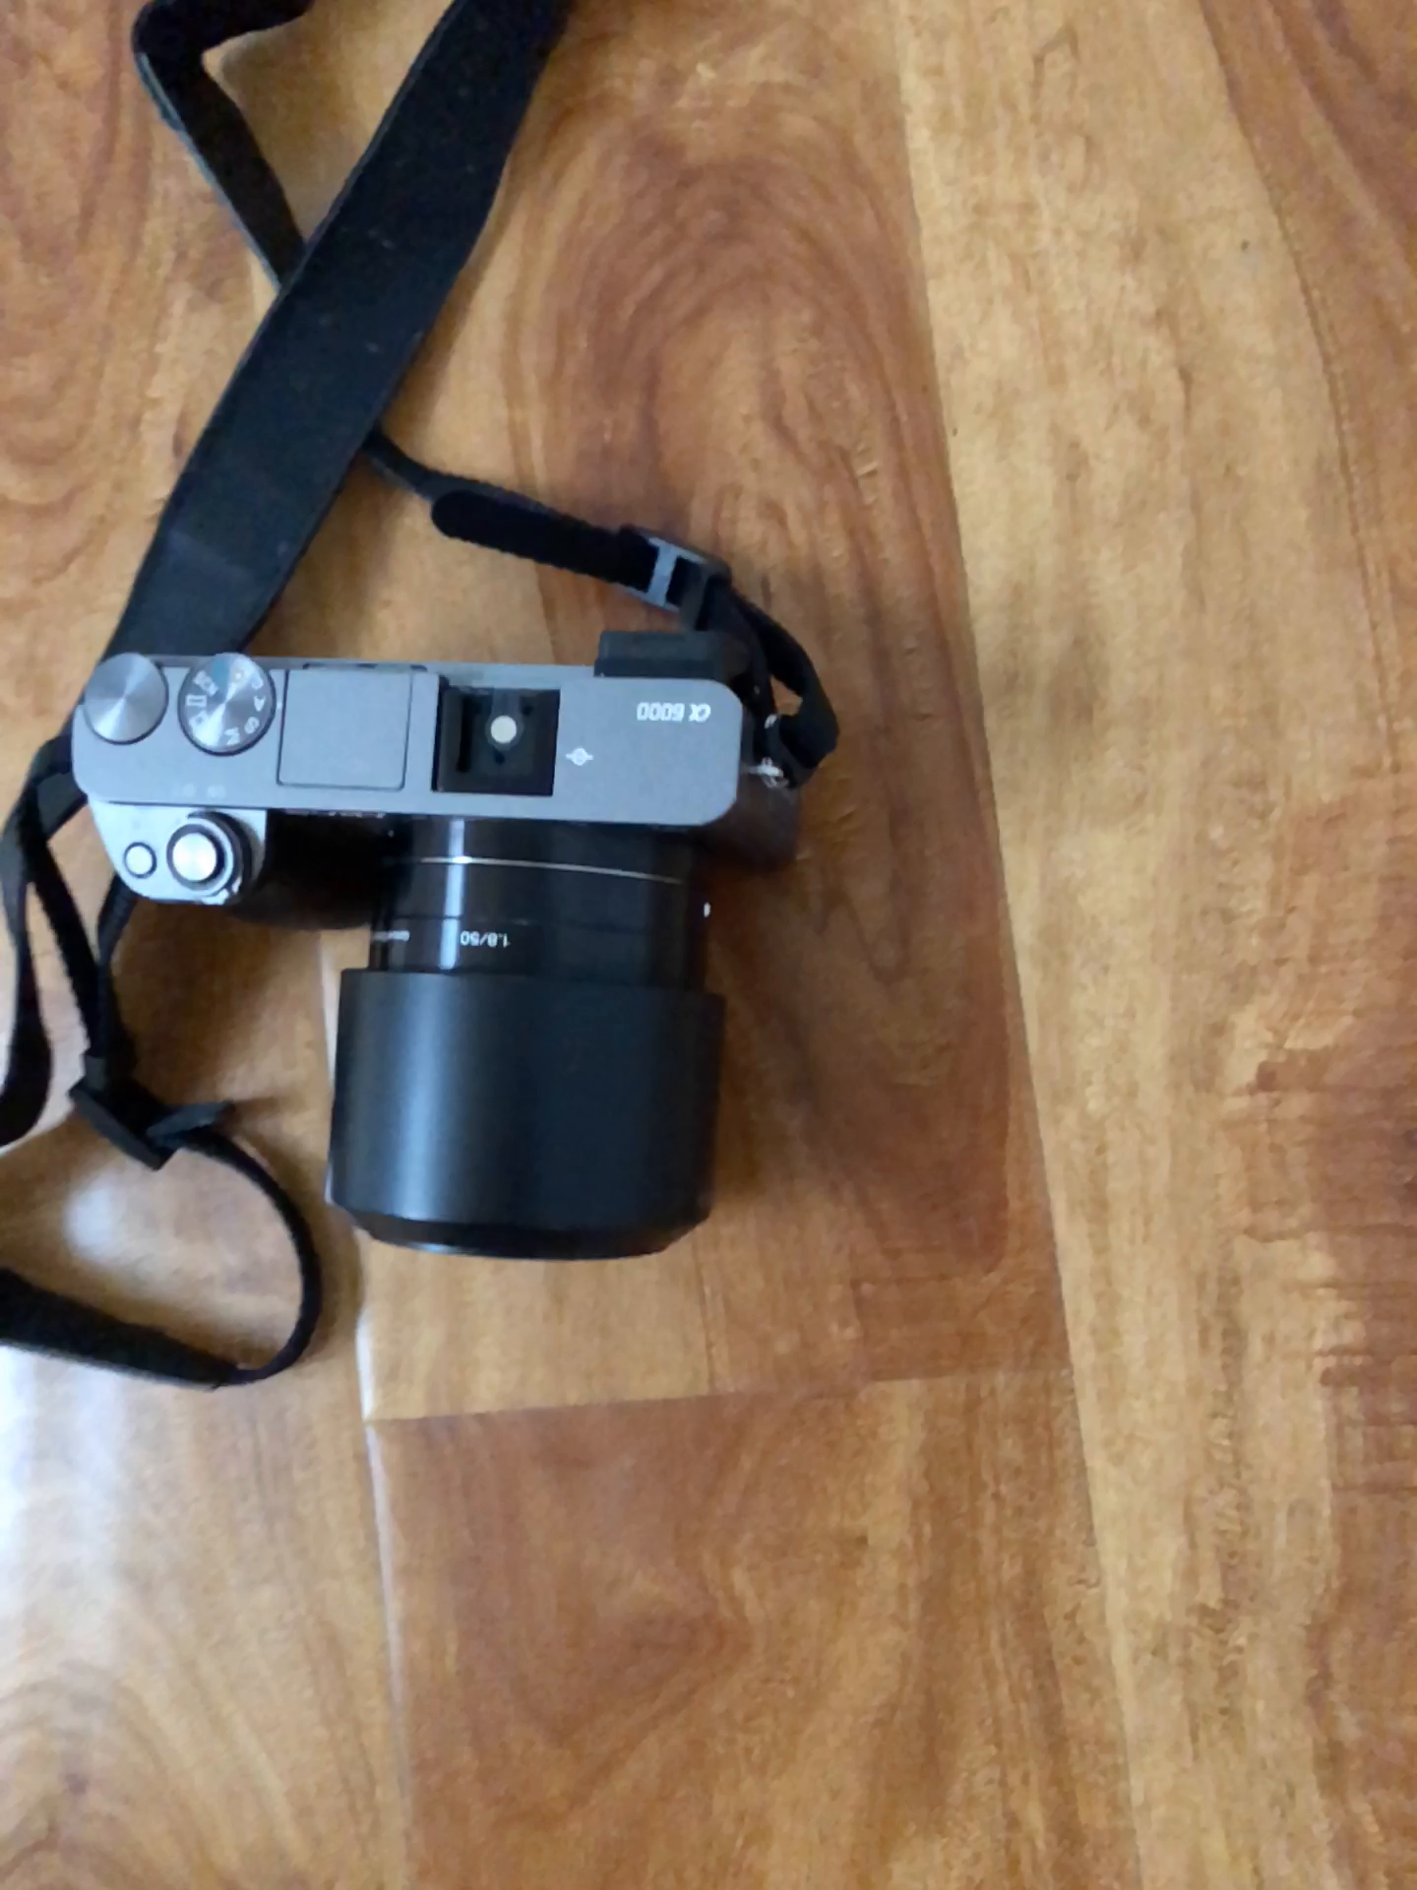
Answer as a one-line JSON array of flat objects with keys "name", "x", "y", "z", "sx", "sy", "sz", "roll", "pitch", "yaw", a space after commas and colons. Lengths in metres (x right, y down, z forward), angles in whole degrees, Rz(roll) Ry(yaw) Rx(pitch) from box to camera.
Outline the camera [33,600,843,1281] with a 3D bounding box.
[{"name": "camera", "x": -0.045, "y": -0.001, "z": 0.301, "sx": 0.130, "sy": 0.070, "sz": 0.110, "roll": 2, "pitch": 86, "yaw": 12}]
